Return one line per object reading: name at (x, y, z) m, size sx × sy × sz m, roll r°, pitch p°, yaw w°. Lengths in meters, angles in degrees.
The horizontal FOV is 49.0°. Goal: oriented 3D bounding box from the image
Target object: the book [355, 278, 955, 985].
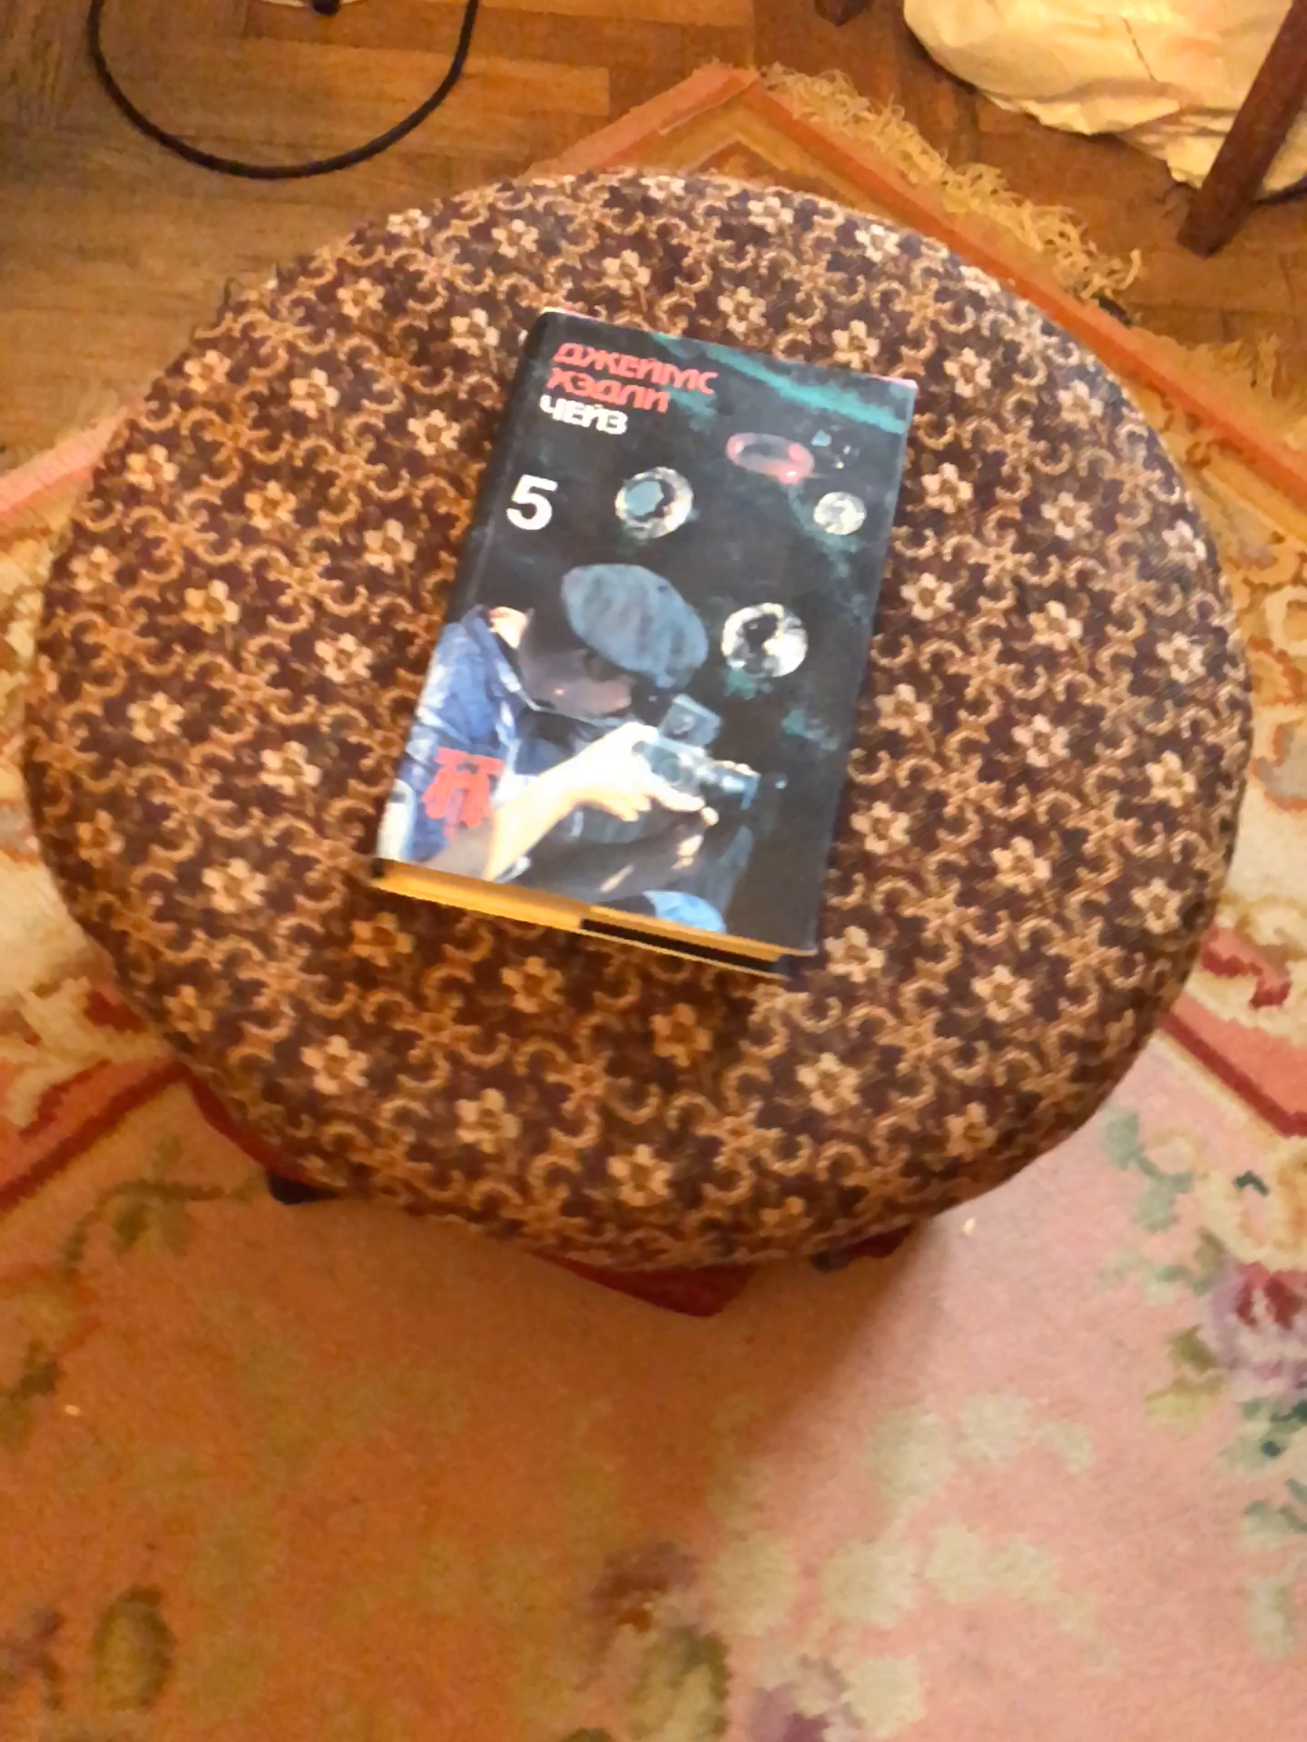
book at (0.006, -0.080, 0.447) m, size 0.140 × 0.020 × 0.206 m, roll 14°, pitch 72°, yaw 1°
